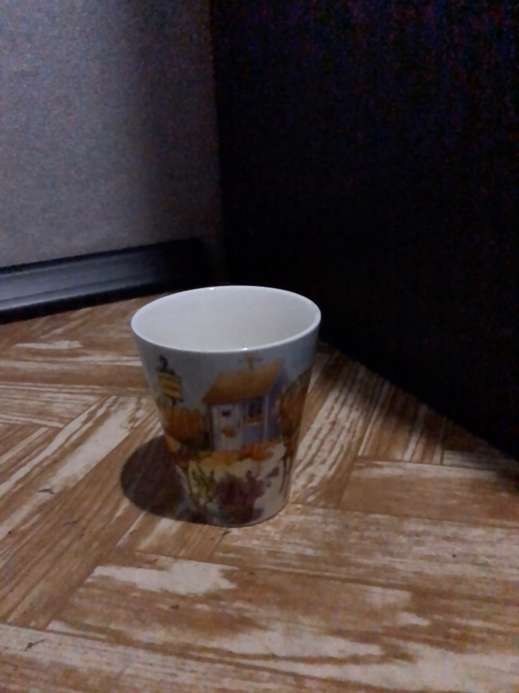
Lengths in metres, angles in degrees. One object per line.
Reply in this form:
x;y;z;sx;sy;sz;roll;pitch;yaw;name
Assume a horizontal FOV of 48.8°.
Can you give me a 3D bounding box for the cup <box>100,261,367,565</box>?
-0.018;0.021;0.294;0.087;0.092;0.120;-13;25;-24;cup
